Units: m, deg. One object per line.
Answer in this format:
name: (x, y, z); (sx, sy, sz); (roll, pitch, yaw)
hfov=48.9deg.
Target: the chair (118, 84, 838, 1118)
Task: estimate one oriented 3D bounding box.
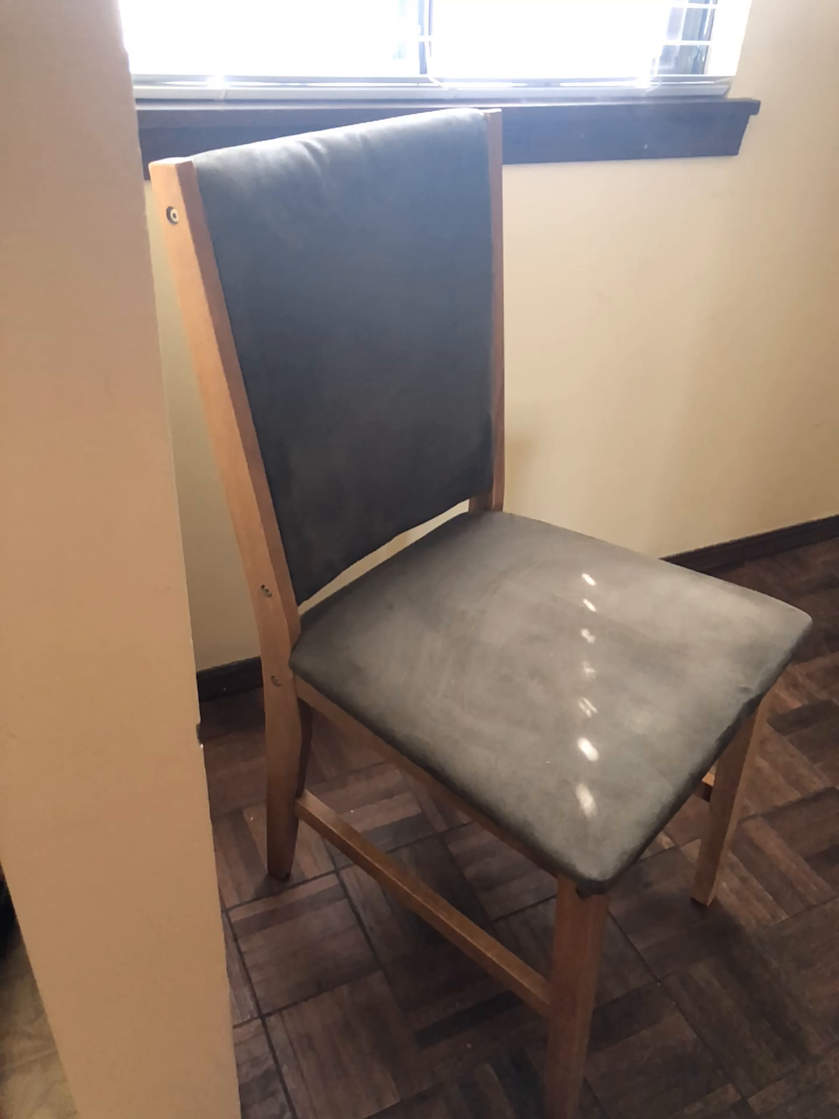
chair: (0.119, 0.016, 0.962); (0.510, 0.858, 0.491); (23, 38, 32)
